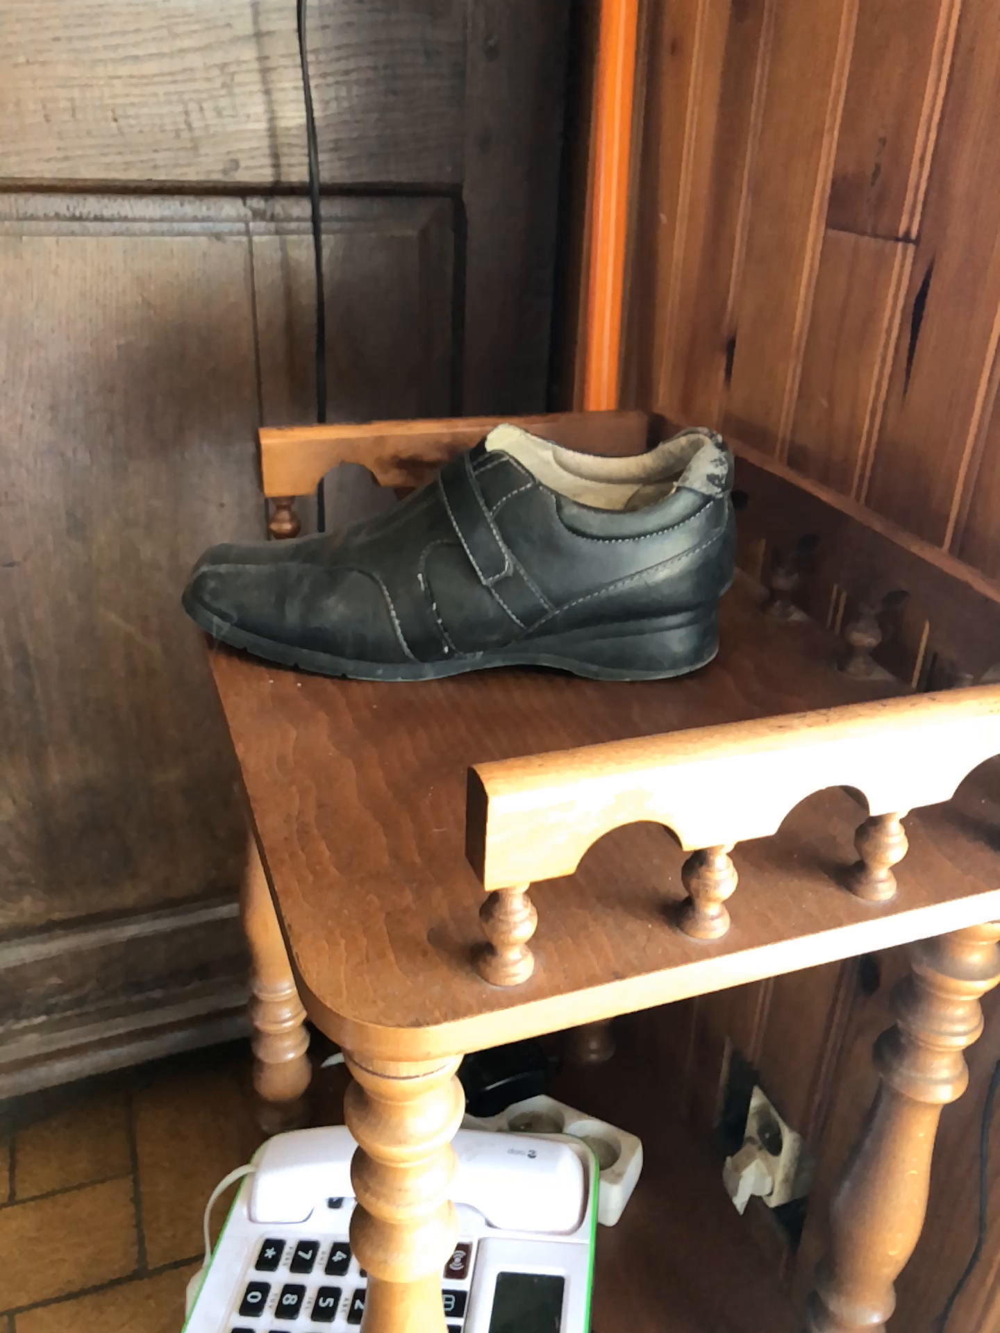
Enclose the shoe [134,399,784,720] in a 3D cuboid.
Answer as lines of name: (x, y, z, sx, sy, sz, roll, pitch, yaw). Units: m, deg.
shoe: (-0.016, -0.051, 0.492, 0.250, 0.099, 0.101, 3, 27, 1)
